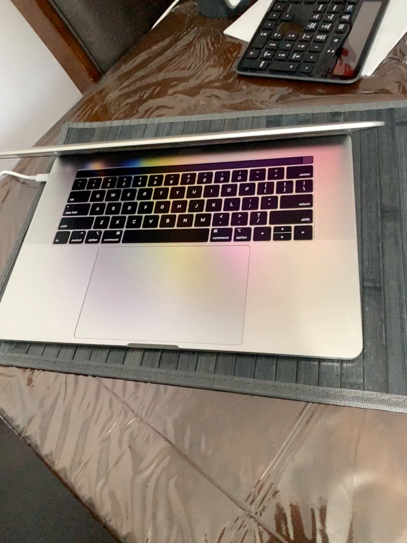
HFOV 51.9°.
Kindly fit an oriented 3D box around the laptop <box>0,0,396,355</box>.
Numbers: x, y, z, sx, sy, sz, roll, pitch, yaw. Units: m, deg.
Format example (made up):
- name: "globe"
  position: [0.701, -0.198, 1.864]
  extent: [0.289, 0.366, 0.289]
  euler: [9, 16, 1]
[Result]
- name: "laptop"
  position: [-0.046, -0.078, 0.351]
  extent: [0.339, 0.164, 0.234]
  euler: [0, 61, 15]
